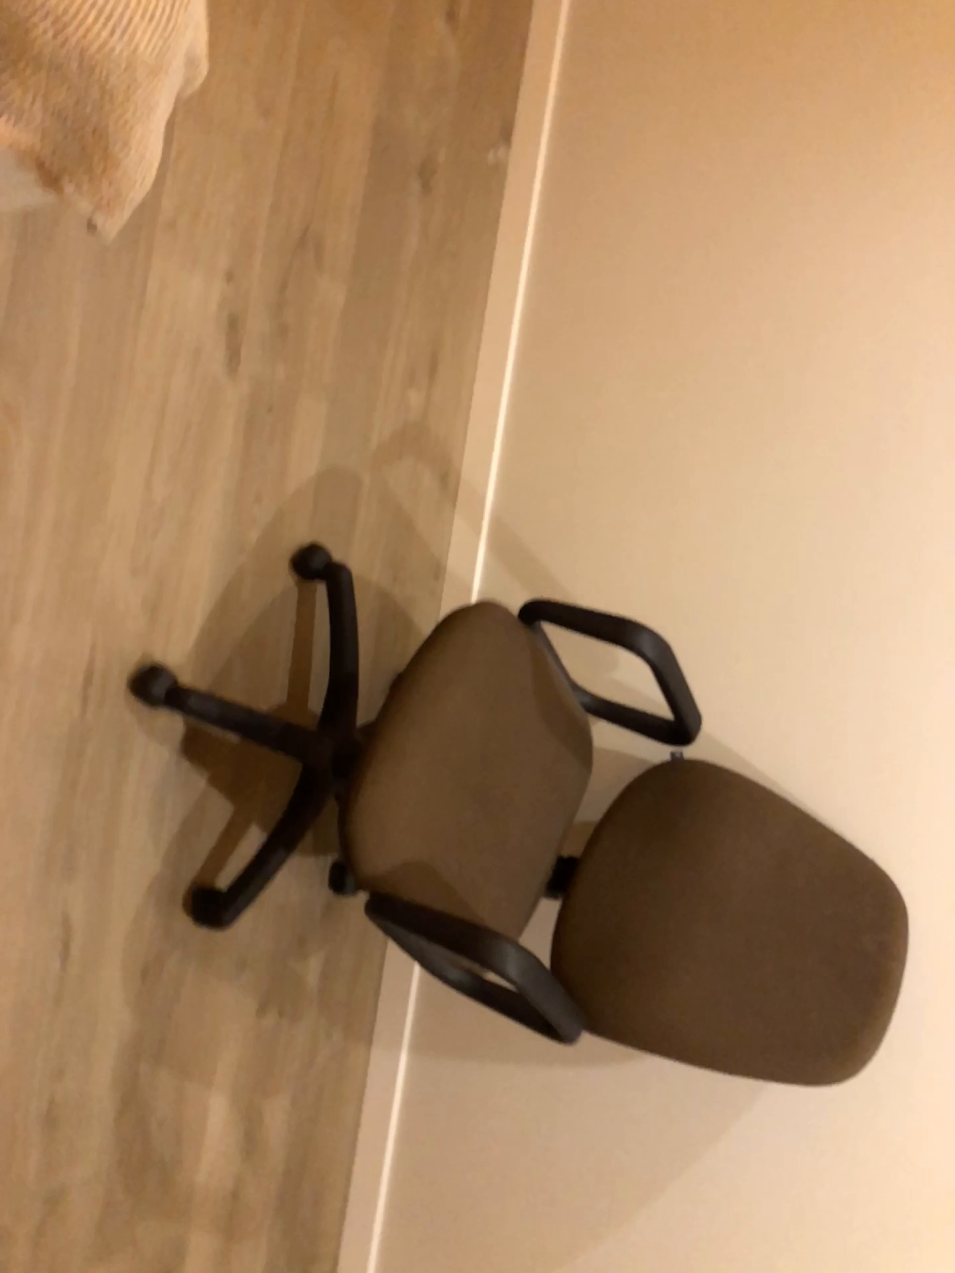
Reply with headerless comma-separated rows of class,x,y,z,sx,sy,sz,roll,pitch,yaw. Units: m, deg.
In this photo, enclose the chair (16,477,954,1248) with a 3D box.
chair,0.057,0.261,1.515,0.632,0.974,0.712,-62,140,-26
